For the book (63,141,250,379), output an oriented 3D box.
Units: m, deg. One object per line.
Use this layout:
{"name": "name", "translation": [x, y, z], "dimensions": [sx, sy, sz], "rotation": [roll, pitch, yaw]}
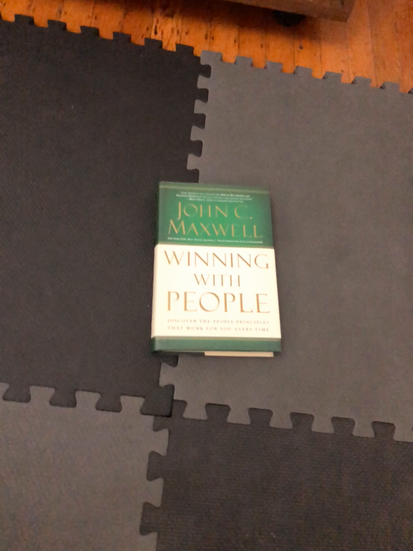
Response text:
{"name": "book", "translation": [-0.049, -0.027, 0.558], "dimensions": [0.200, 0.030, 0.291], "rotation": [4, 67, -7]}
